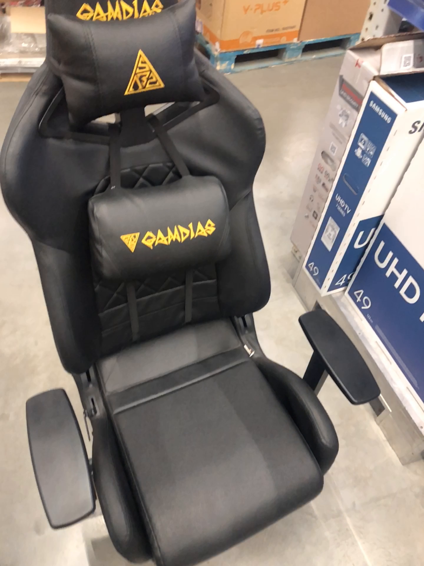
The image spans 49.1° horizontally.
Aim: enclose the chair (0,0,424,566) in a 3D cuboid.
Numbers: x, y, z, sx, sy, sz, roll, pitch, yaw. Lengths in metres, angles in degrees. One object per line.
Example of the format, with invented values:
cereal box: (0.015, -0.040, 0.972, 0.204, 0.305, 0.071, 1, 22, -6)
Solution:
chair: (-0.058, 0.121, 1.012, 0.741, 1.282, 0.783, -17, 56, -18)
